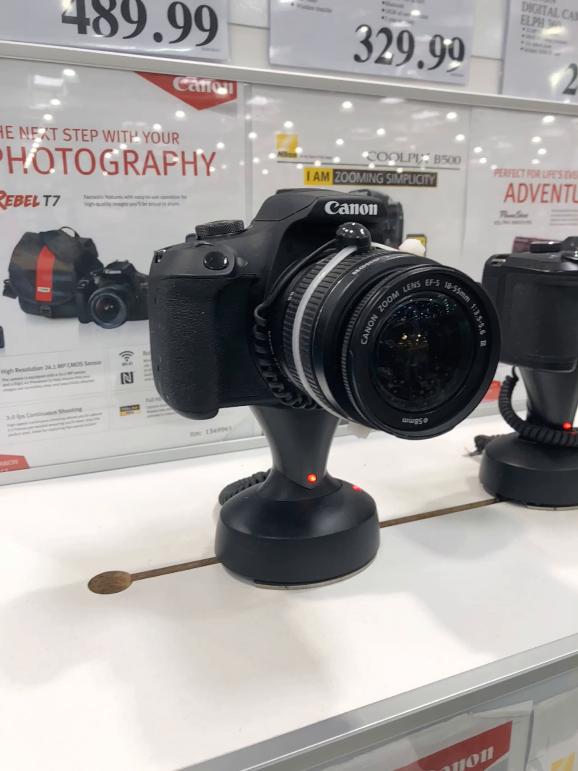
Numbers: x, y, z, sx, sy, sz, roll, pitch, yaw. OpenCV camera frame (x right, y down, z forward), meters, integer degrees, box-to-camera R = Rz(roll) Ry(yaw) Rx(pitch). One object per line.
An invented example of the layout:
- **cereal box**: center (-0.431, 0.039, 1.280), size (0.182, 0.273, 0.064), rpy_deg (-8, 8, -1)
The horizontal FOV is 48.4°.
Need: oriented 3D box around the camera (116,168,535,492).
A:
- **camera**: center (0.008, -0.034, 0.277), size (0.130, 0.100, 0.120), rpy_deg (-7, 15, -26)
